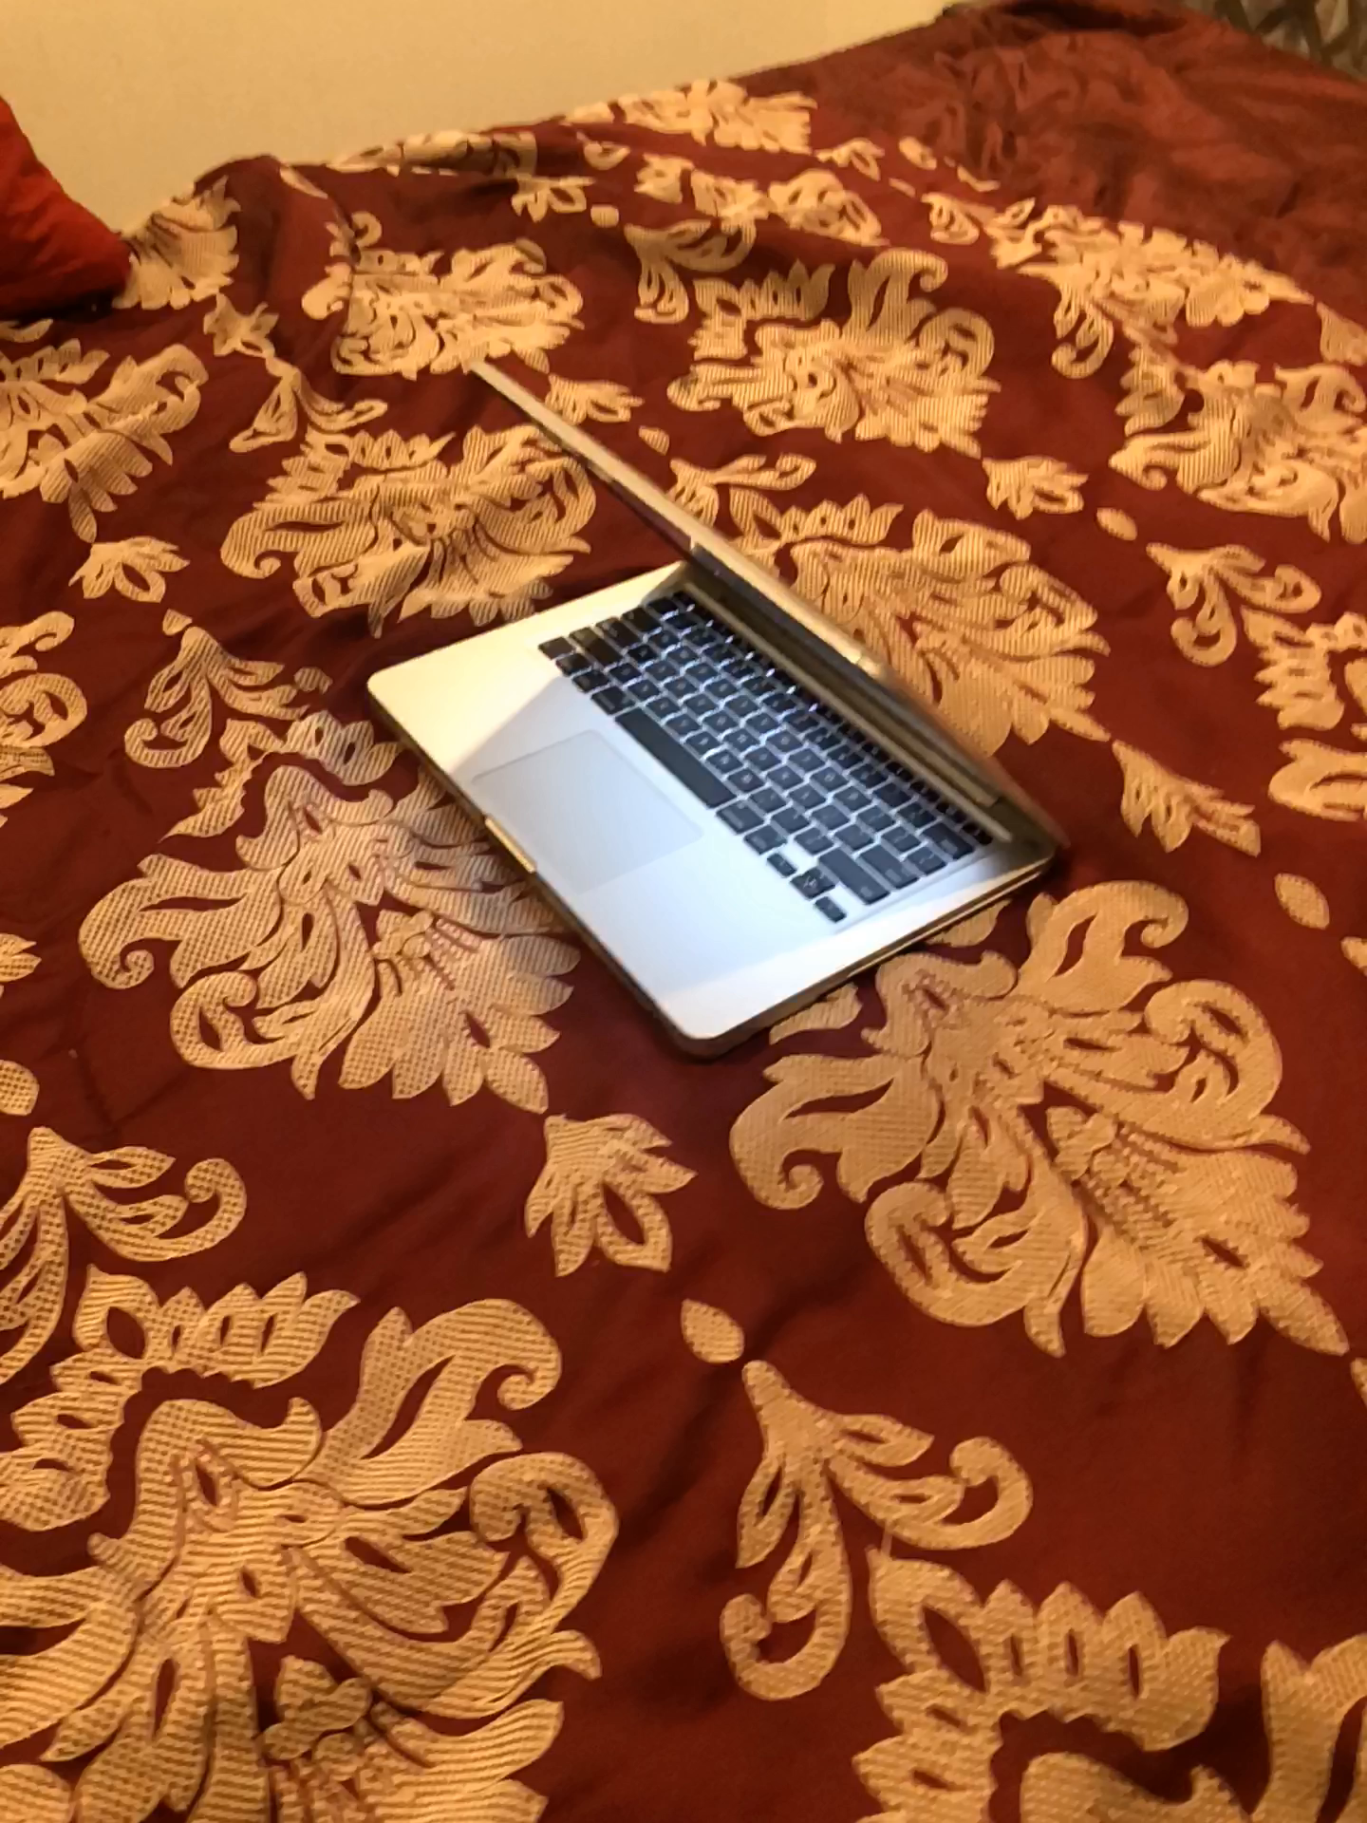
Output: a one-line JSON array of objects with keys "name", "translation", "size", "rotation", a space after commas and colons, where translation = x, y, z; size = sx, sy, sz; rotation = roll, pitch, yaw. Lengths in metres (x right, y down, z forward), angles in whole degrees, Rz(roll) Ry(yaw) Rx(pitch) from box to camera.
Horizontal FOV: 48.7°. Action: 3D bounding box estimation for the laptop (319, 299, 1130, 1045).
[{"name": "laptop", "translation": [0.005, -0.134, 0.722], "size": [0.212, 0.156, 0.313], "rotation": [-26, 51, -25]}]
